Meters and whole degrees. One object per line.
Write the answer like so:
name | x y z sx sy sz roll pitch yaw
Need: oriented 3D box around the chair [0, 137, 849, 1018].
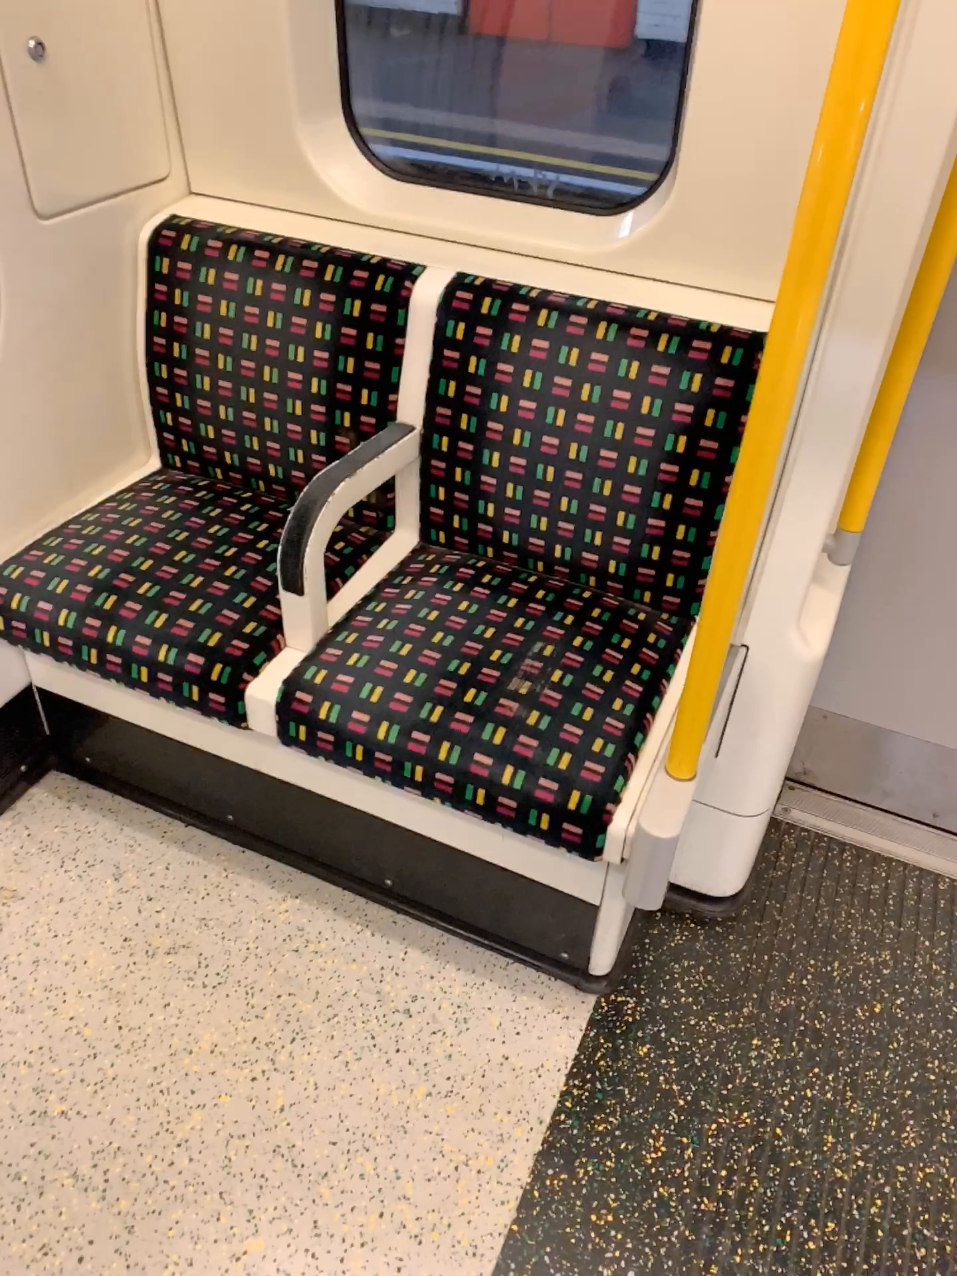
chair | -0.125 -0.207 1.528 1.062 0.762 0.918 17 41 17
